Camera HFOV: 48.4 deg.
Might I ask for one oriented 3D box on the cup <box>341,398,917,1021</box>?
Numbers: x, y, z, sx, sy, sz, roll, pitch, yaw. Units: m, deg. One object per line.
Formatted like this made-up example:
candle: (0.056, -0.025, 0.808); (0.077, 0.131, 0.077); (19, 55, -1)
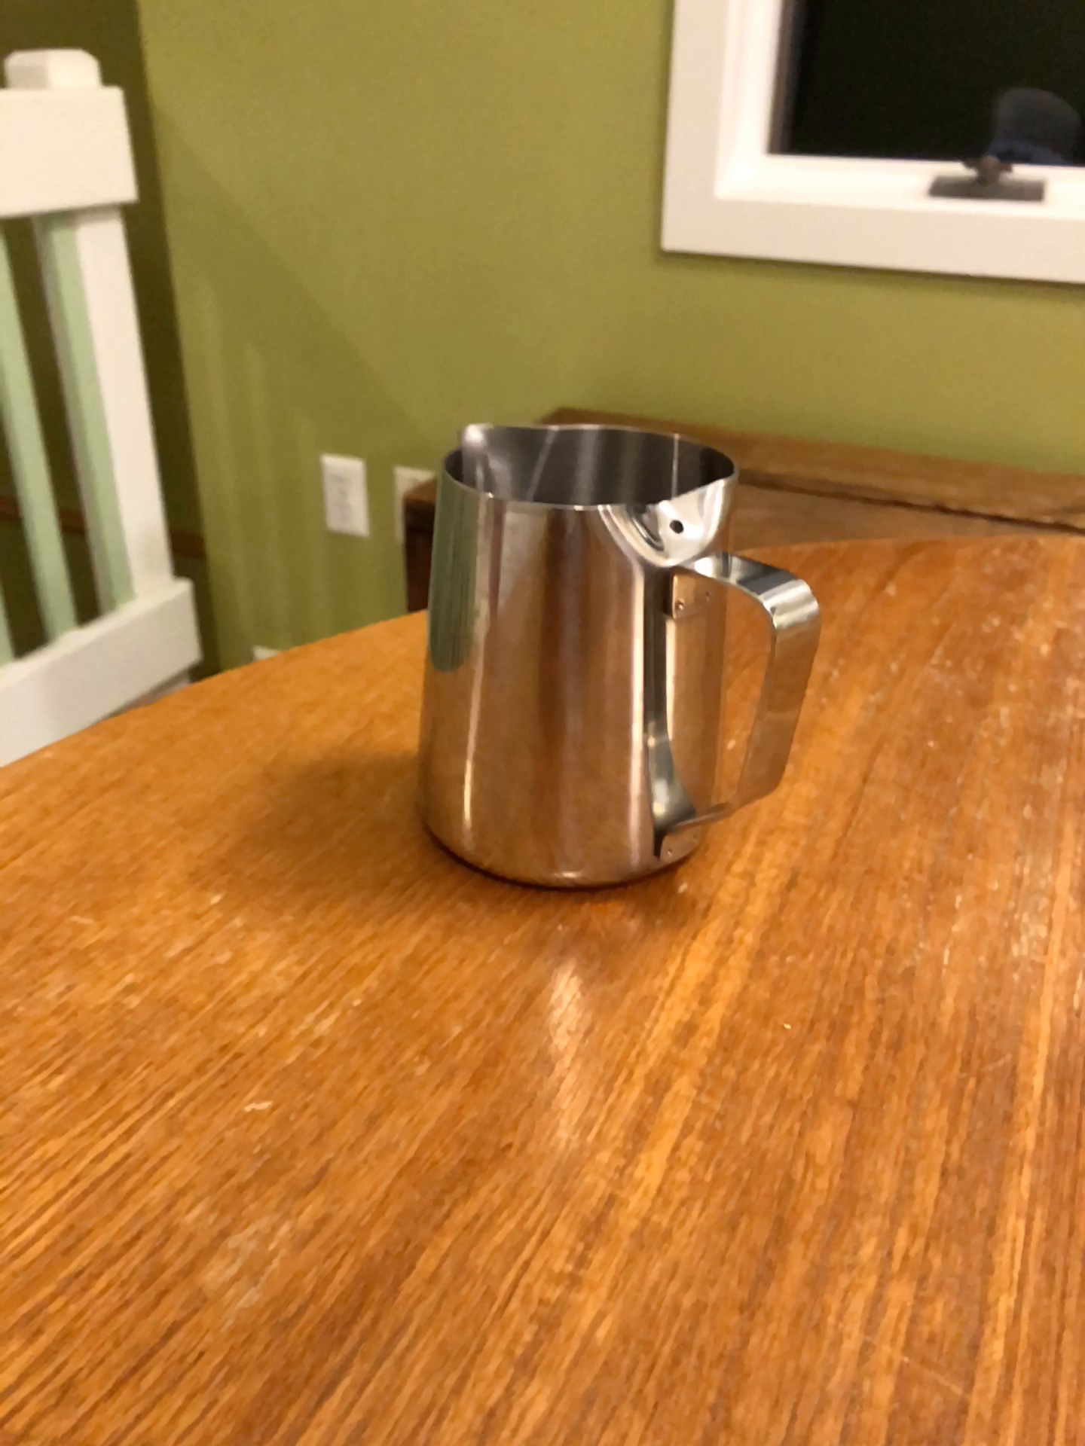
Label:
cup: (0.015, -0.015, 0.341); (0.083, 0.114, 0.136); (-18, 33, -32)
